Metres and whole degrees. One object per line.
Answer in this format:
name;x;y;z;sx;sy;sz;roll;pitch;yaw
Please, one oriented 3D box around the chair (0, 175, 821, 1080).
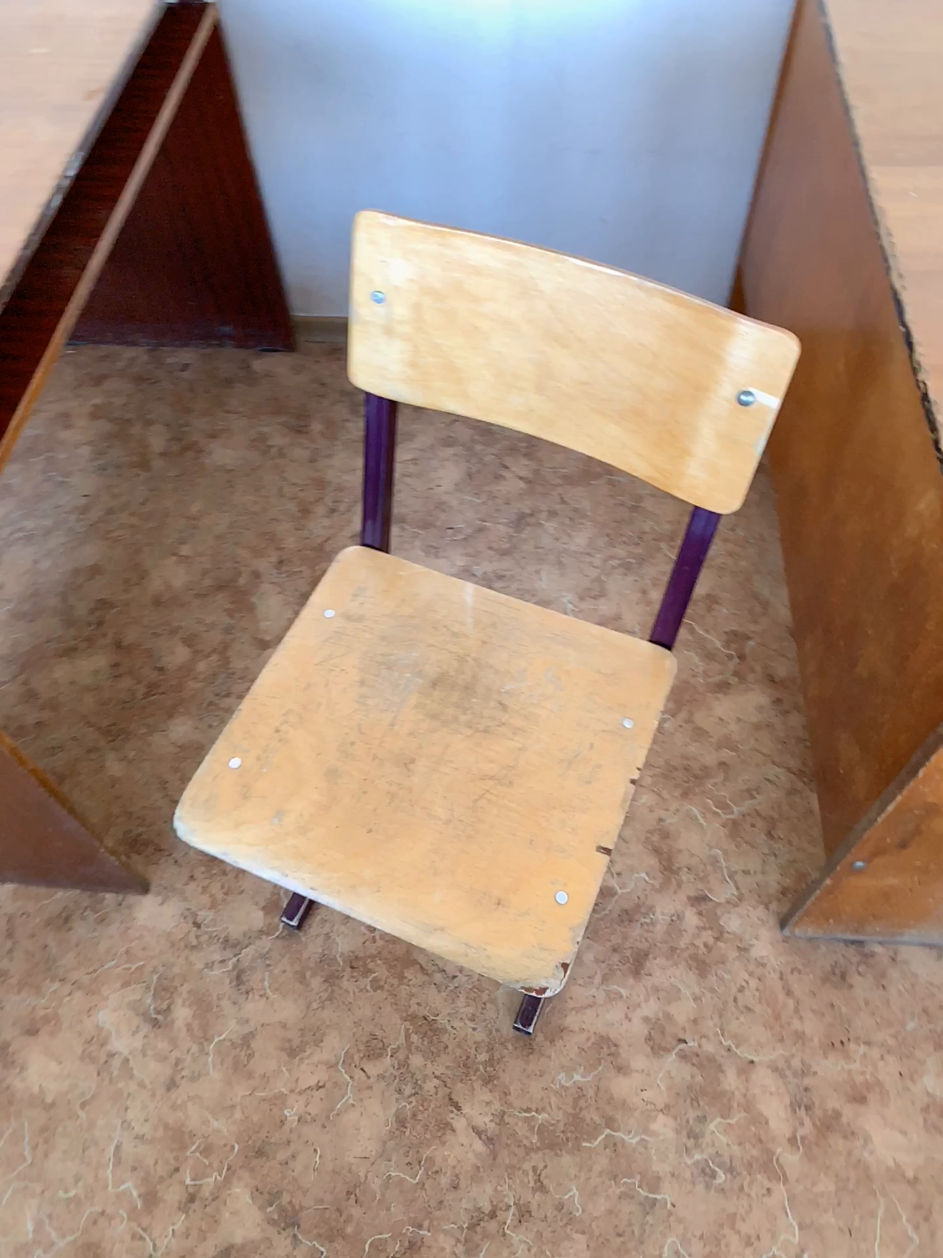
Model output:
chair;-0.001;0.065;0.945;0.380;0.735;0.472;20;60;15
